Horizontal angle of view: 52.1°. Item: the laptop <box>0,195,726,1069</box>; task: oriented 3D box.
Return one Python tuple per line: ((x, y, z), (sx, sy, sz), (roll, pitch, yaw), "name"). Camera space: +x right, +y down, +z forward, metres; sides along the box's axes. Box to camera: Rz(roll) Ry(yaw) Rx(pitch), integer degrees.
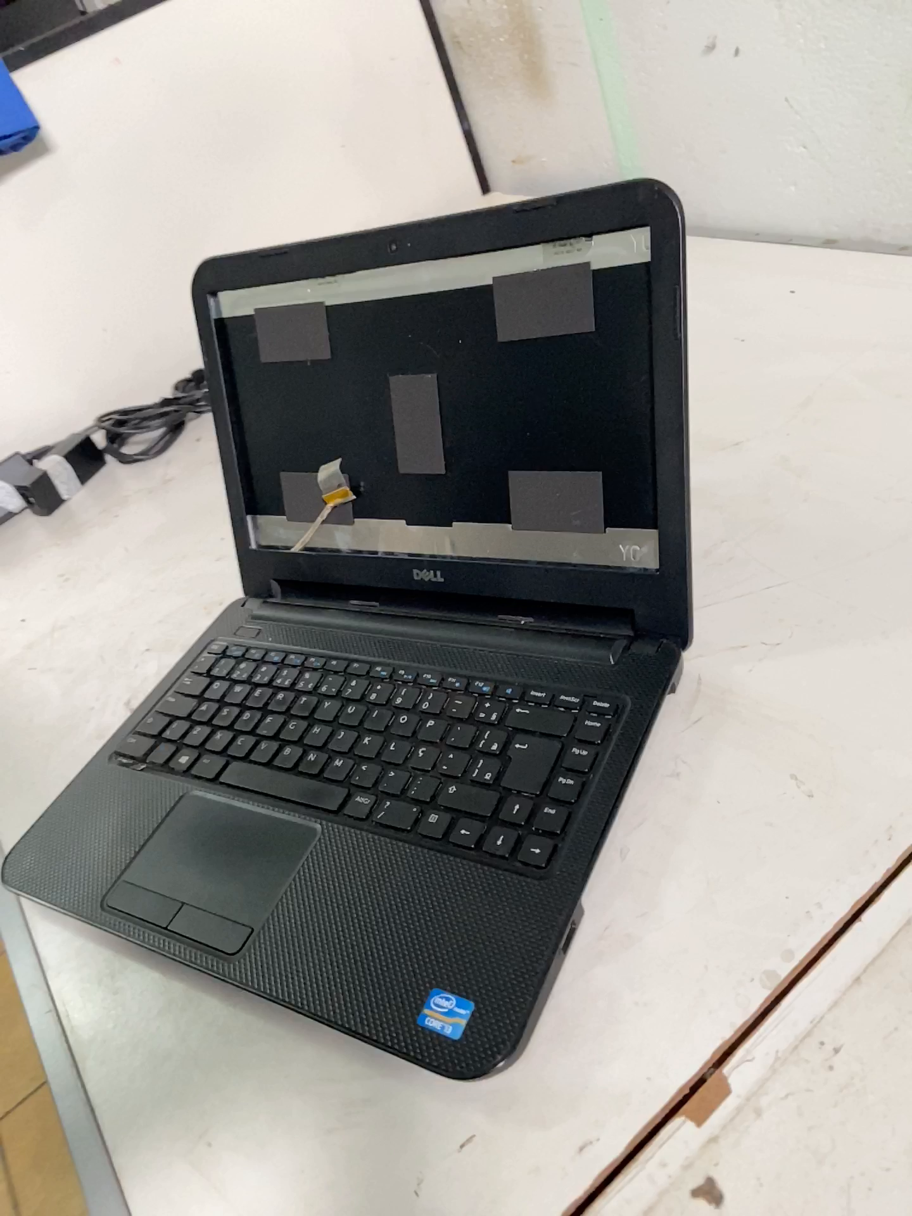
((-0.083, -0.021, 0.482), (0.320, 0.193, 0.336), (5, 45, 34), "laptop")
